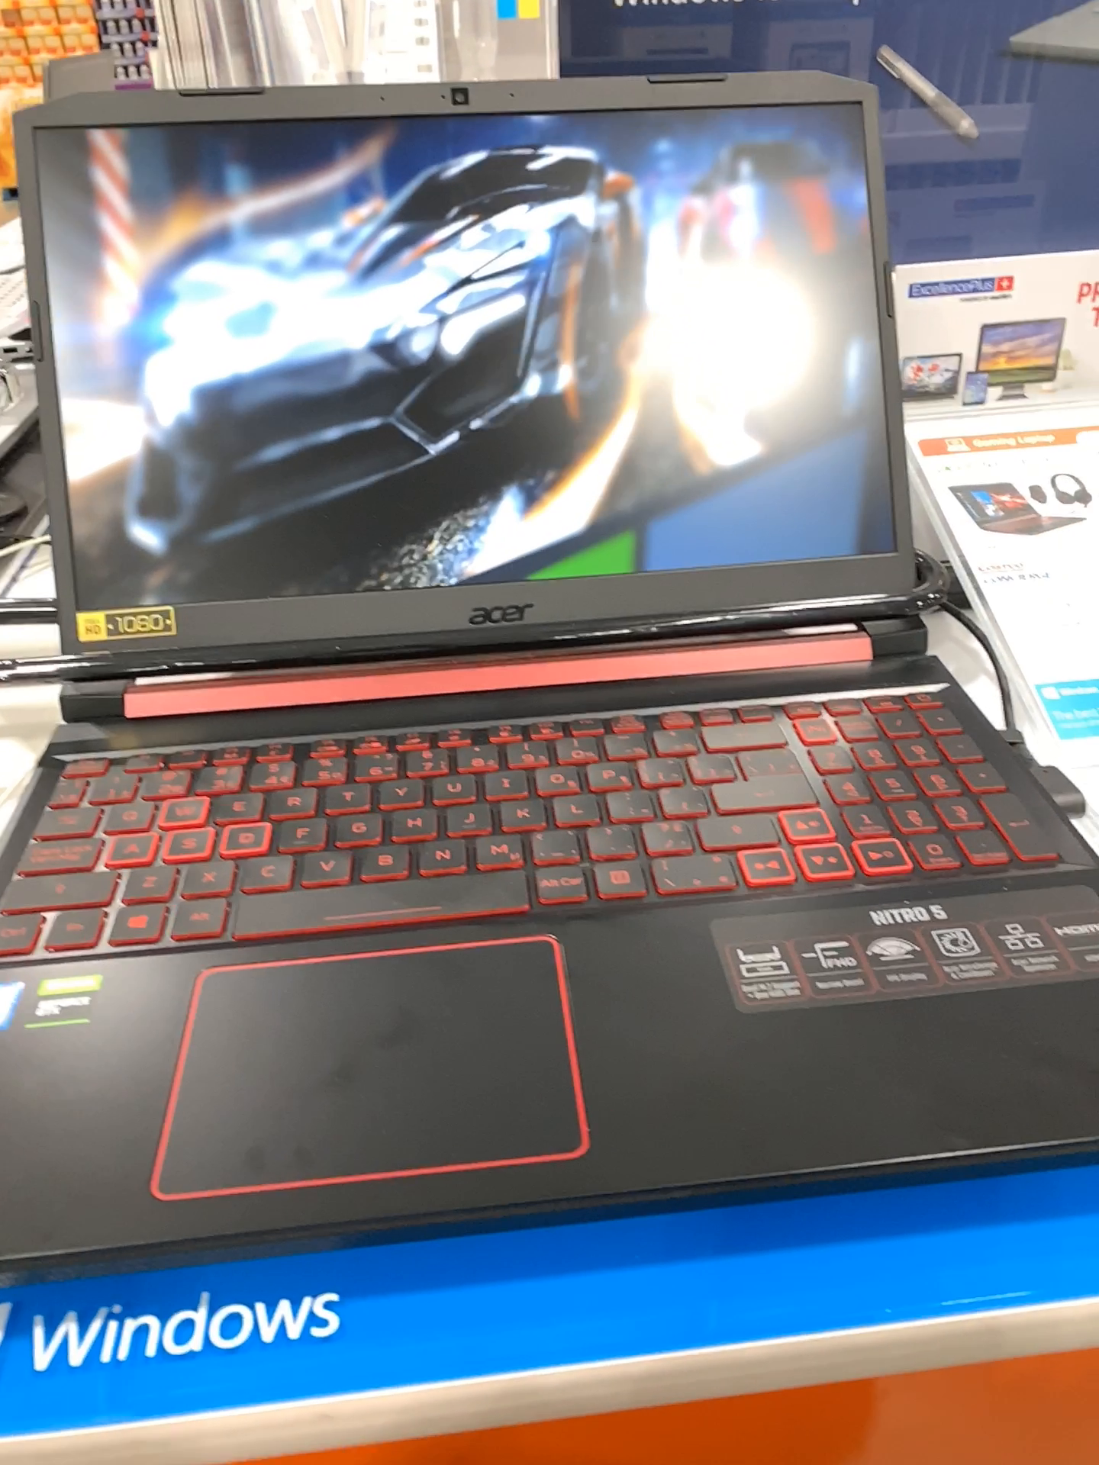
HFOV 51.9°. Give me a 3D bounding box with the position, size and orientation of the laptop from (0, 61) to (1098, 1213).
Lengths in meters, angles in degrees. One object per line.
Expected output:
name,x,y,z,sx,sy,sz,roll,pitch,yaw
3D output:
laptop,-0.022,-0.086,0.374,0.358,0.198,0.381,-4,34,-3
